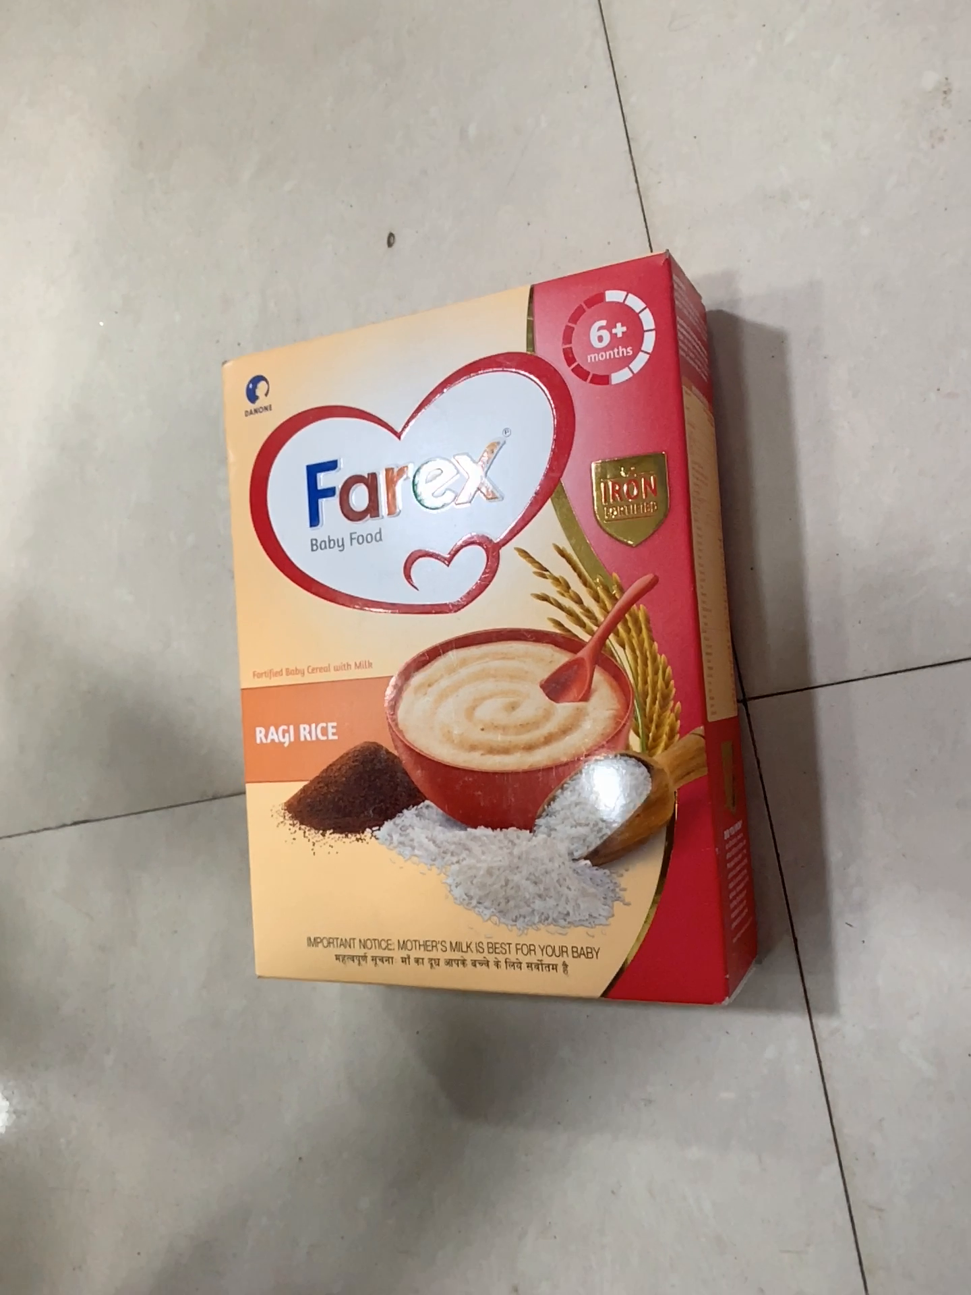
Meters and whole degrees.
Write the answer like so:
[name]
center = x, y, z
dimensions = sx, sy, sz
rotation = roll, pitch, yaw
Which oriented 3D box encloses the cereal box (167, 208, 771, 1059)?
[cereal box]
center = -0.006, 0.001, 0.284
dimensions = 0.150, 0.050, 0.200
rotation = -5, 88, 20
